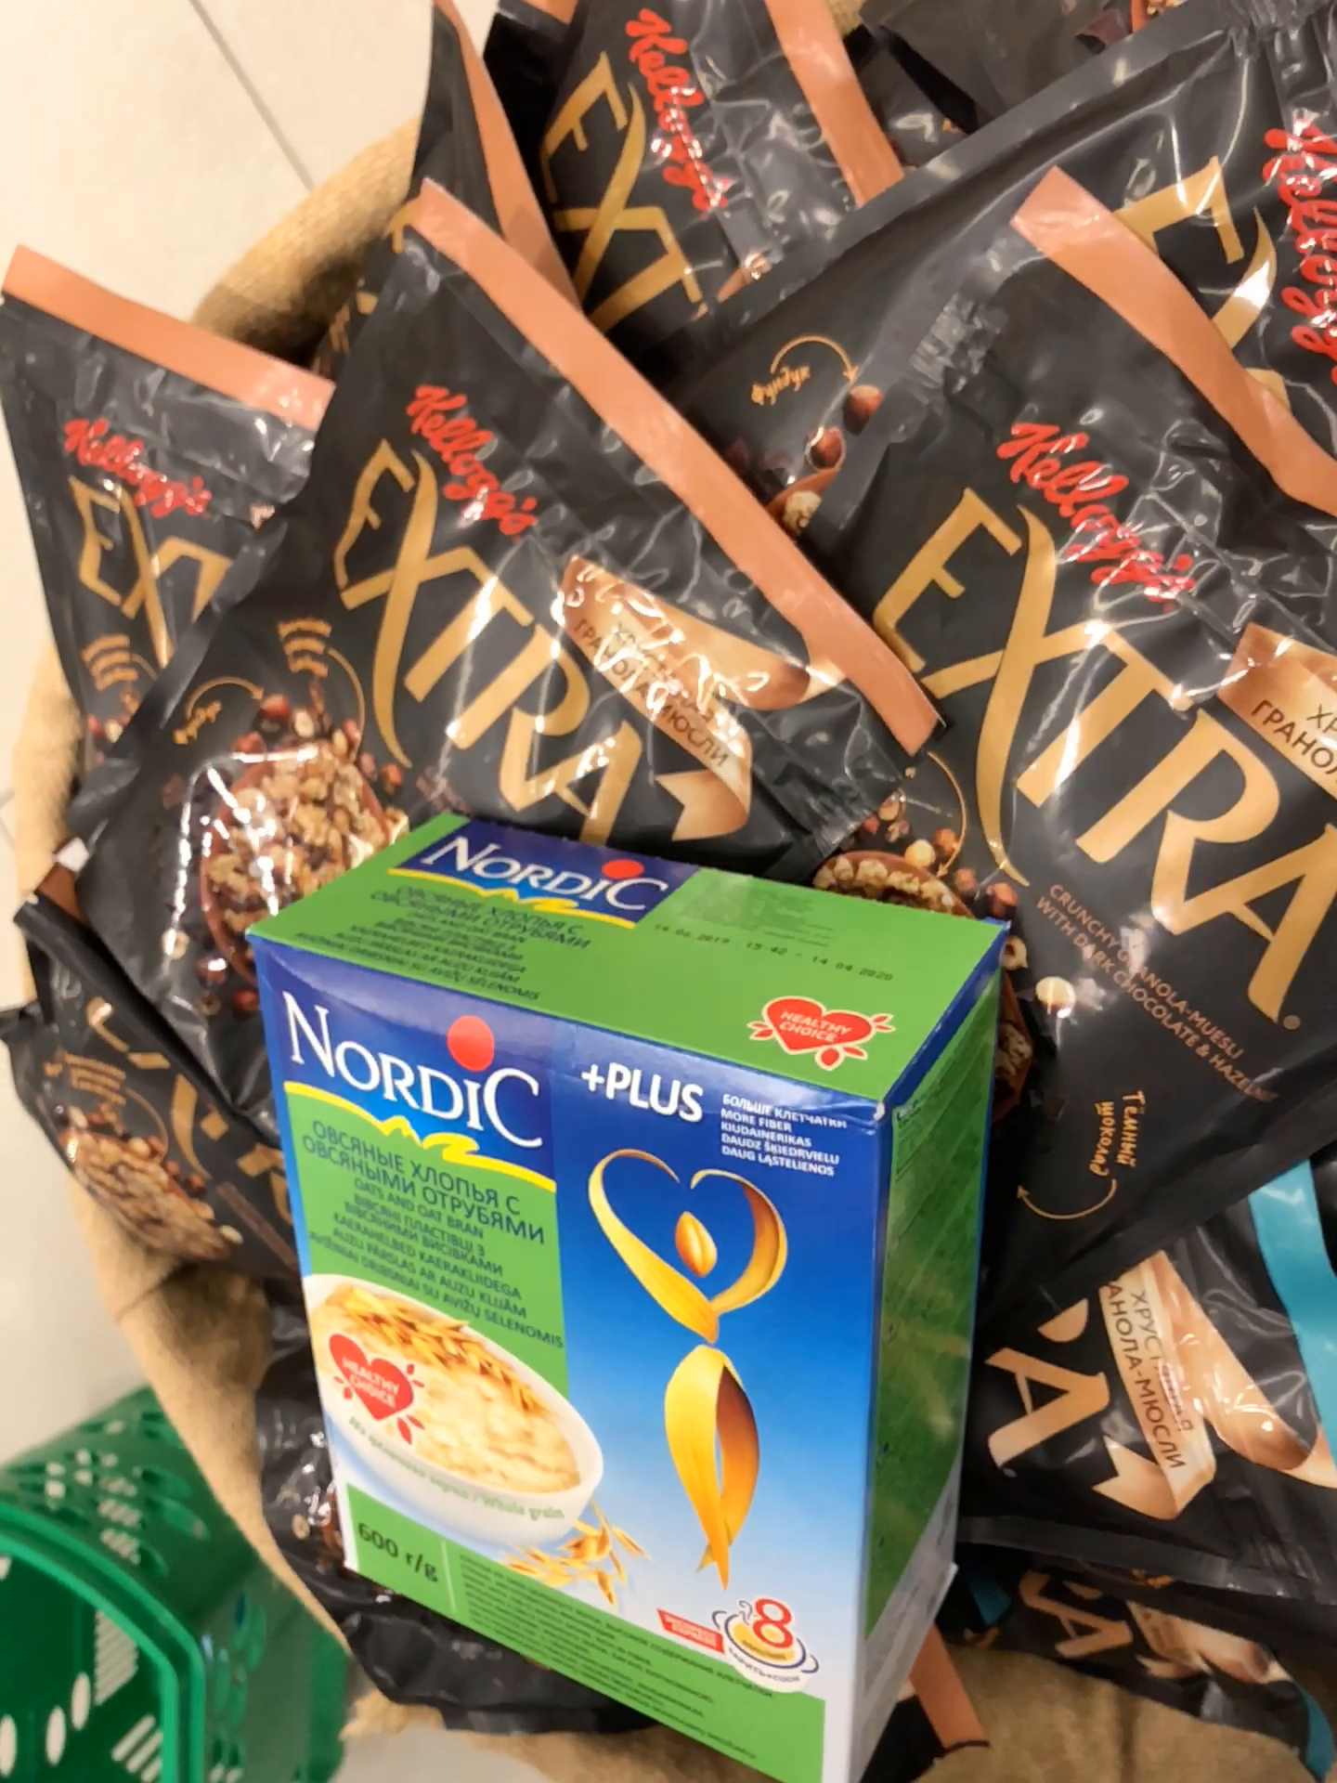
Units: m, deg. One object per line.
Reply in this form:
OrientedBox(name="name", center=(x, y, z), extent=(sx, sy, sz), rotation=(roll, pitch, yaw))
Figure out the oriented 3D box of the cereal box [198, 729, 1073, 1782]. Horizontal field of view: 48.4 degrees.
OrientedBox(name="cereal box", center=(-0.006, 0.085, 0.349), extent=(0.160, 0.080, 0.210), rotation=(12, 118, 26))
